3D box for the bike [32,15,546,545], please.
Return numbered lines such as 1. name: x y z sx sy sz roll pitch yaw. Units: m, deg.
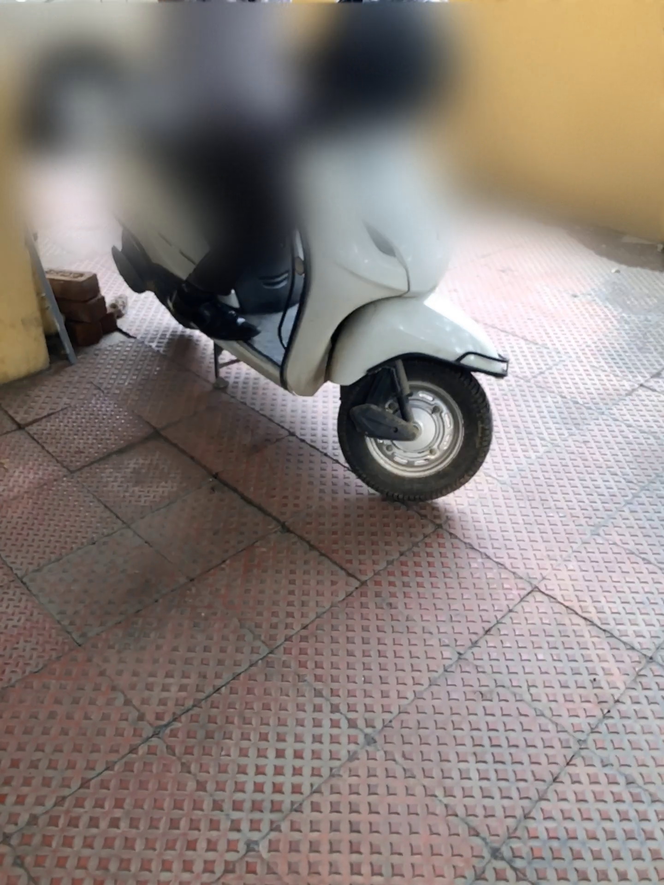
1. bike: -0.205 -0.616 2.322 0.660 1.107 1.390 -27 45 -37
